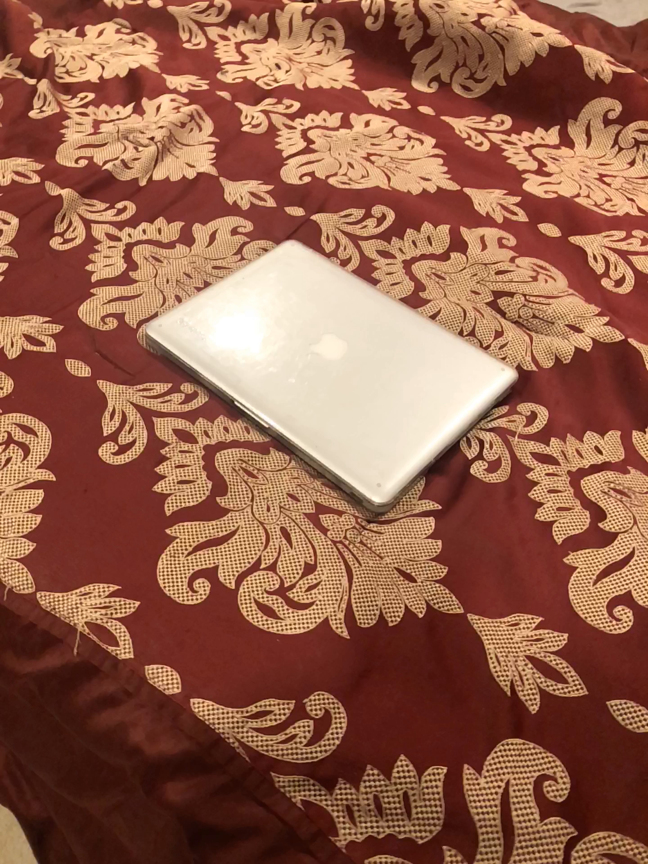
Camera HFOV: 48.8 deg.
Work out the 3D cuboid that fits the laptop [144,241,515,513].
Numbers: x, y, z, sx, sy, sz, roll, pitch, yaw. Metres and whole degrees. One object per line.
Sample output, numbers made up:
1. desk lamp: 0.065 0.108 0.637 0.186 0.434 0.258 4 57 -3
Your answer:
1. laptop: 0.001 -0.076 0.702 0.304 0.015 0.208 35 57 26
